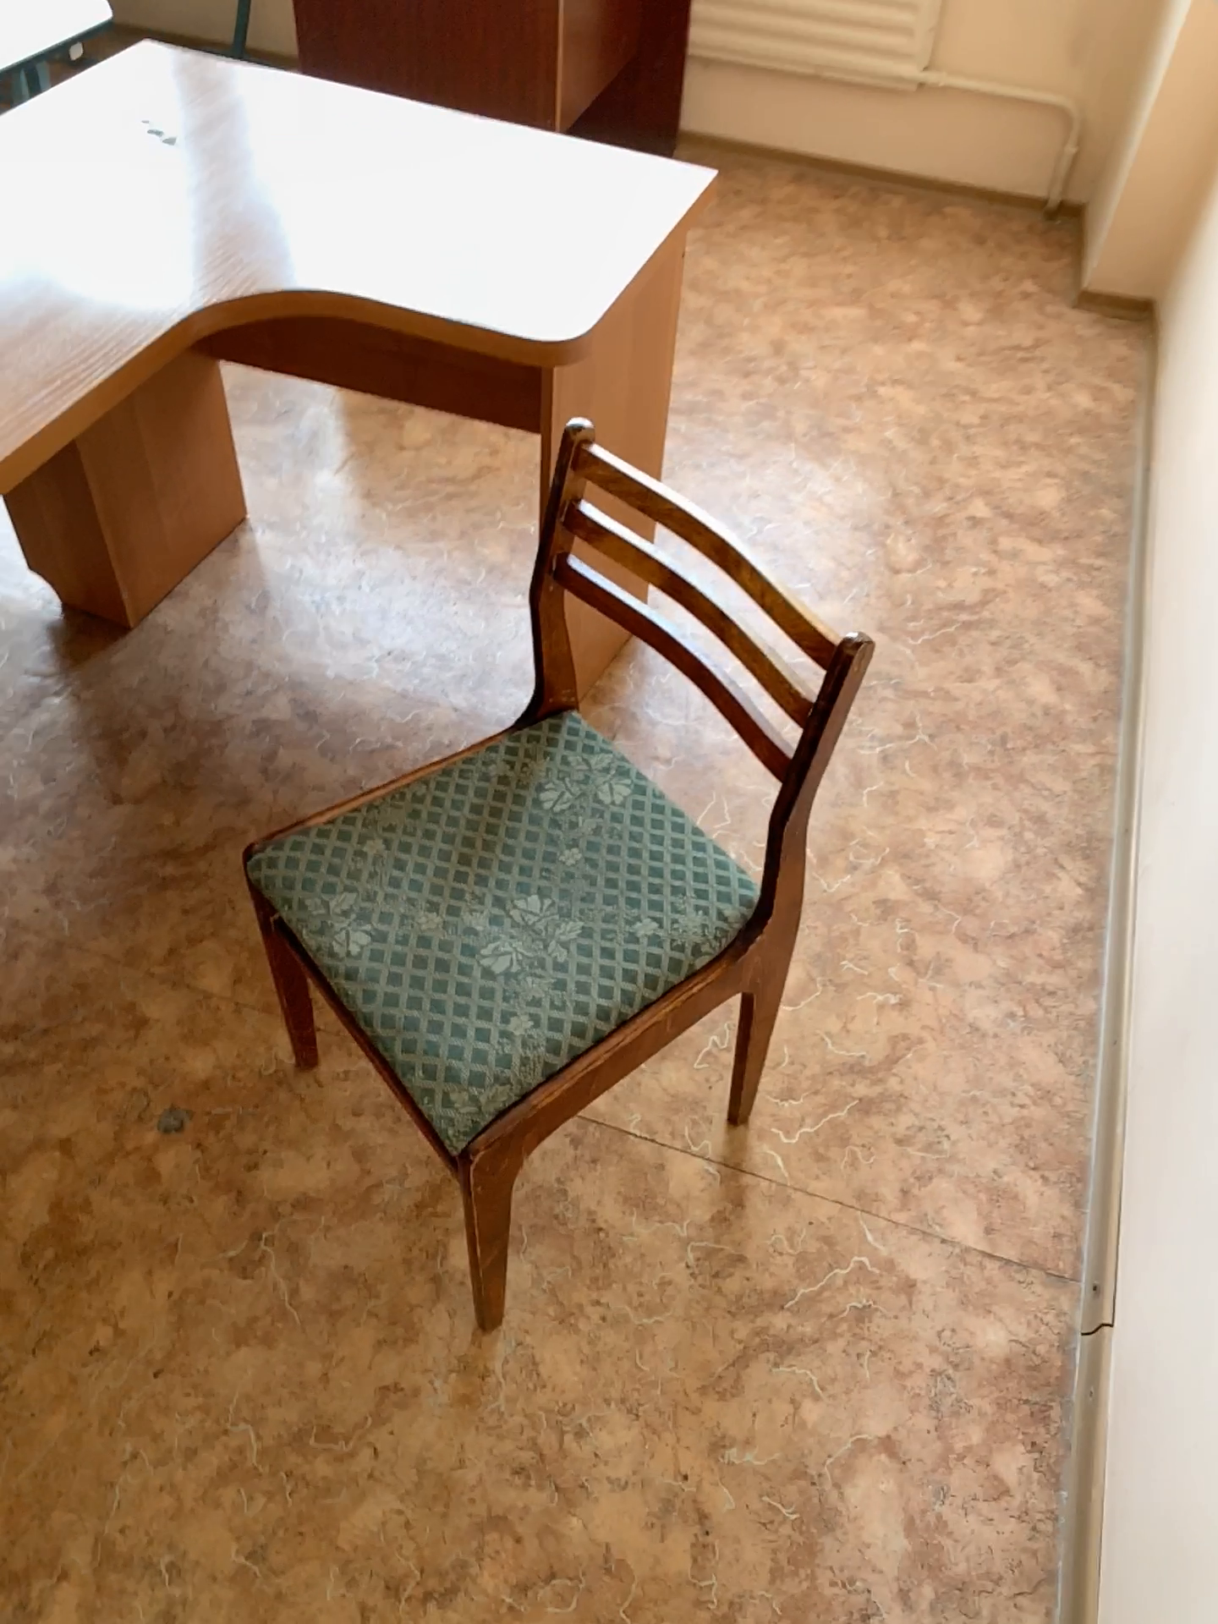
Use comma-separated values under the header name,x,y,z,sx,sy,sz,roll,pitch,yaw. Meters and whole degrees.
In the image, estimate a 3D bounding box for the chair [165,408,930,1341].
name,x,y,z,sx,sy,sz,roll,pitch,yaw
chair,-0.069,0.086,1.175,0.402,0.704,0.402,-29,57,-27
